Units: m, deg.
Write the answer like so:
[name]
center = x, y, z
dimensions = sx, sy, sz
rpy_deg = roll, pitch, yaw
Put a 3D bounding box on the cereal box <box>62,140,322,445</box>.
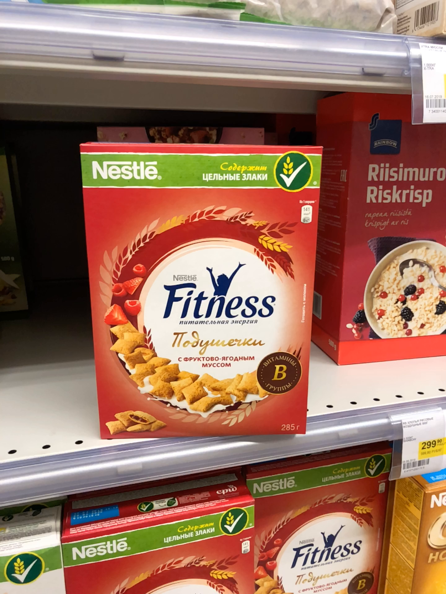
[cereal box]
center = -0.022, -0.001, 0.399
dimensions = 0.180, 0.239, 0.050
rpy_deg = 0, 16, -3
